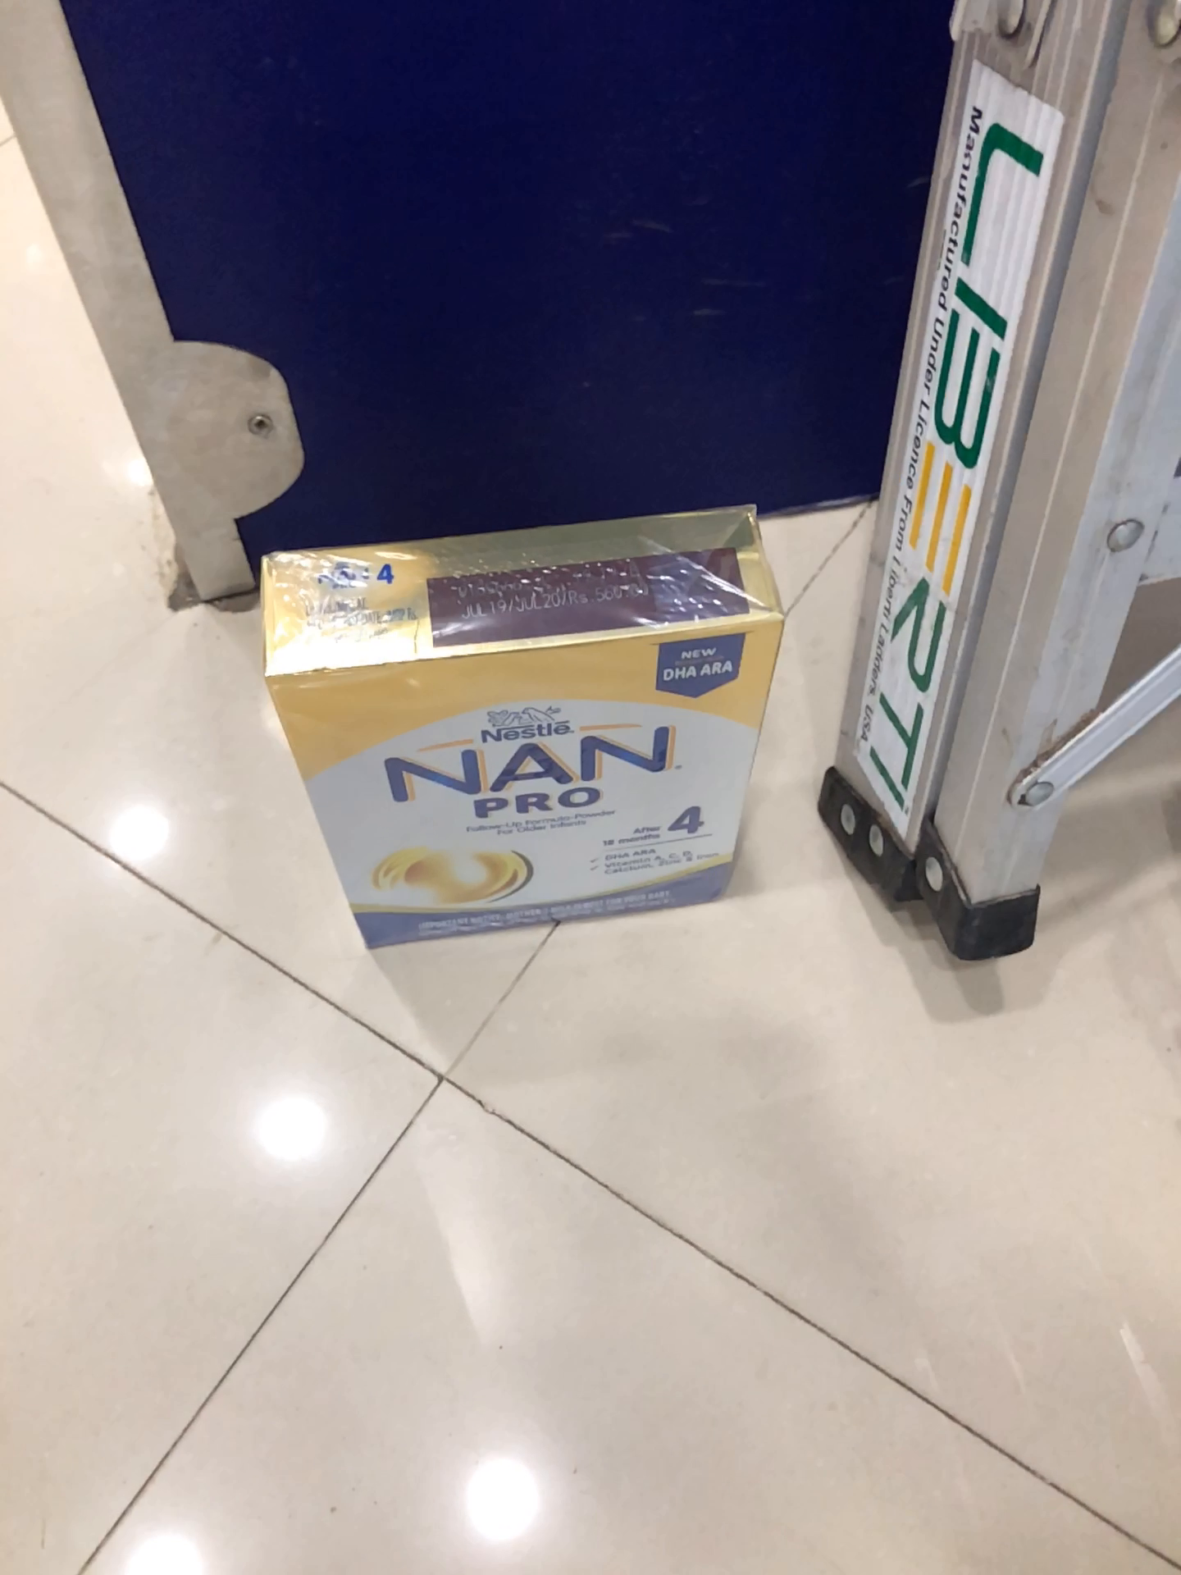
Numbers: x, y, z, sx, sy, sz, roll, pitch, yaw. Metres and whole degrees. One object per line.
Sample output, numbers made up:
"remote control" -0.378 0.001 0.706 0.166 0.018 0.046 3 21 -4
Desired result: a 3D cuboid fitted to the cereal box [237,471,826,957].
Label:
"cereal box" -0.020 -0.014 0.479 0.170 0.209 0.050 -7 60 -5
